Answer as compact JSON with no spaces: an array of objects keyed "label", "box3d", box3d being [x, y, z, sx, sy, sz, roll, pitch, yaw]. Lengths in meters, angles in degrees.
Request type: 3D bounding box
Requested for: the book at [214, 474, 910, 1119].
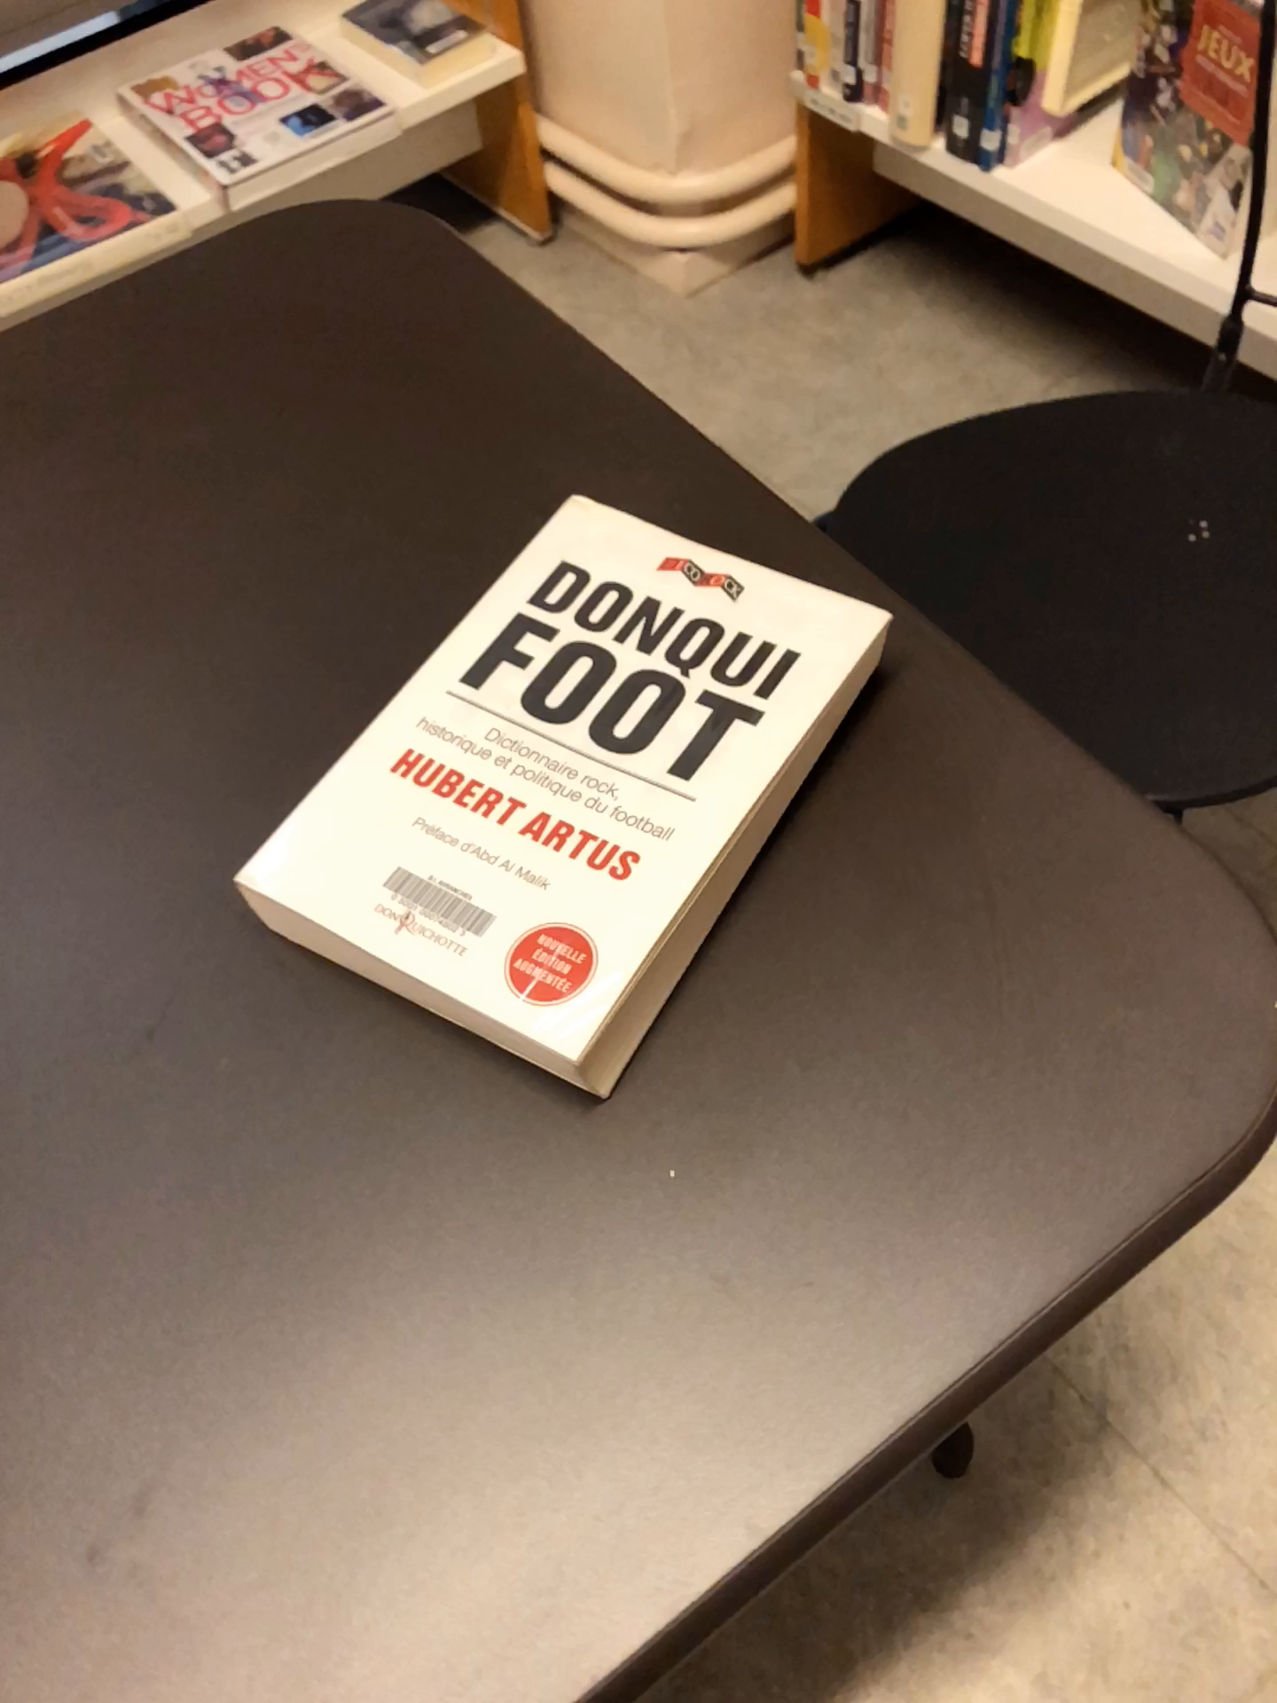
[{"label":"book","box3d":[-0.019,-0.033,0.495,0.147,0.042,0.208,25,61,23]}]
